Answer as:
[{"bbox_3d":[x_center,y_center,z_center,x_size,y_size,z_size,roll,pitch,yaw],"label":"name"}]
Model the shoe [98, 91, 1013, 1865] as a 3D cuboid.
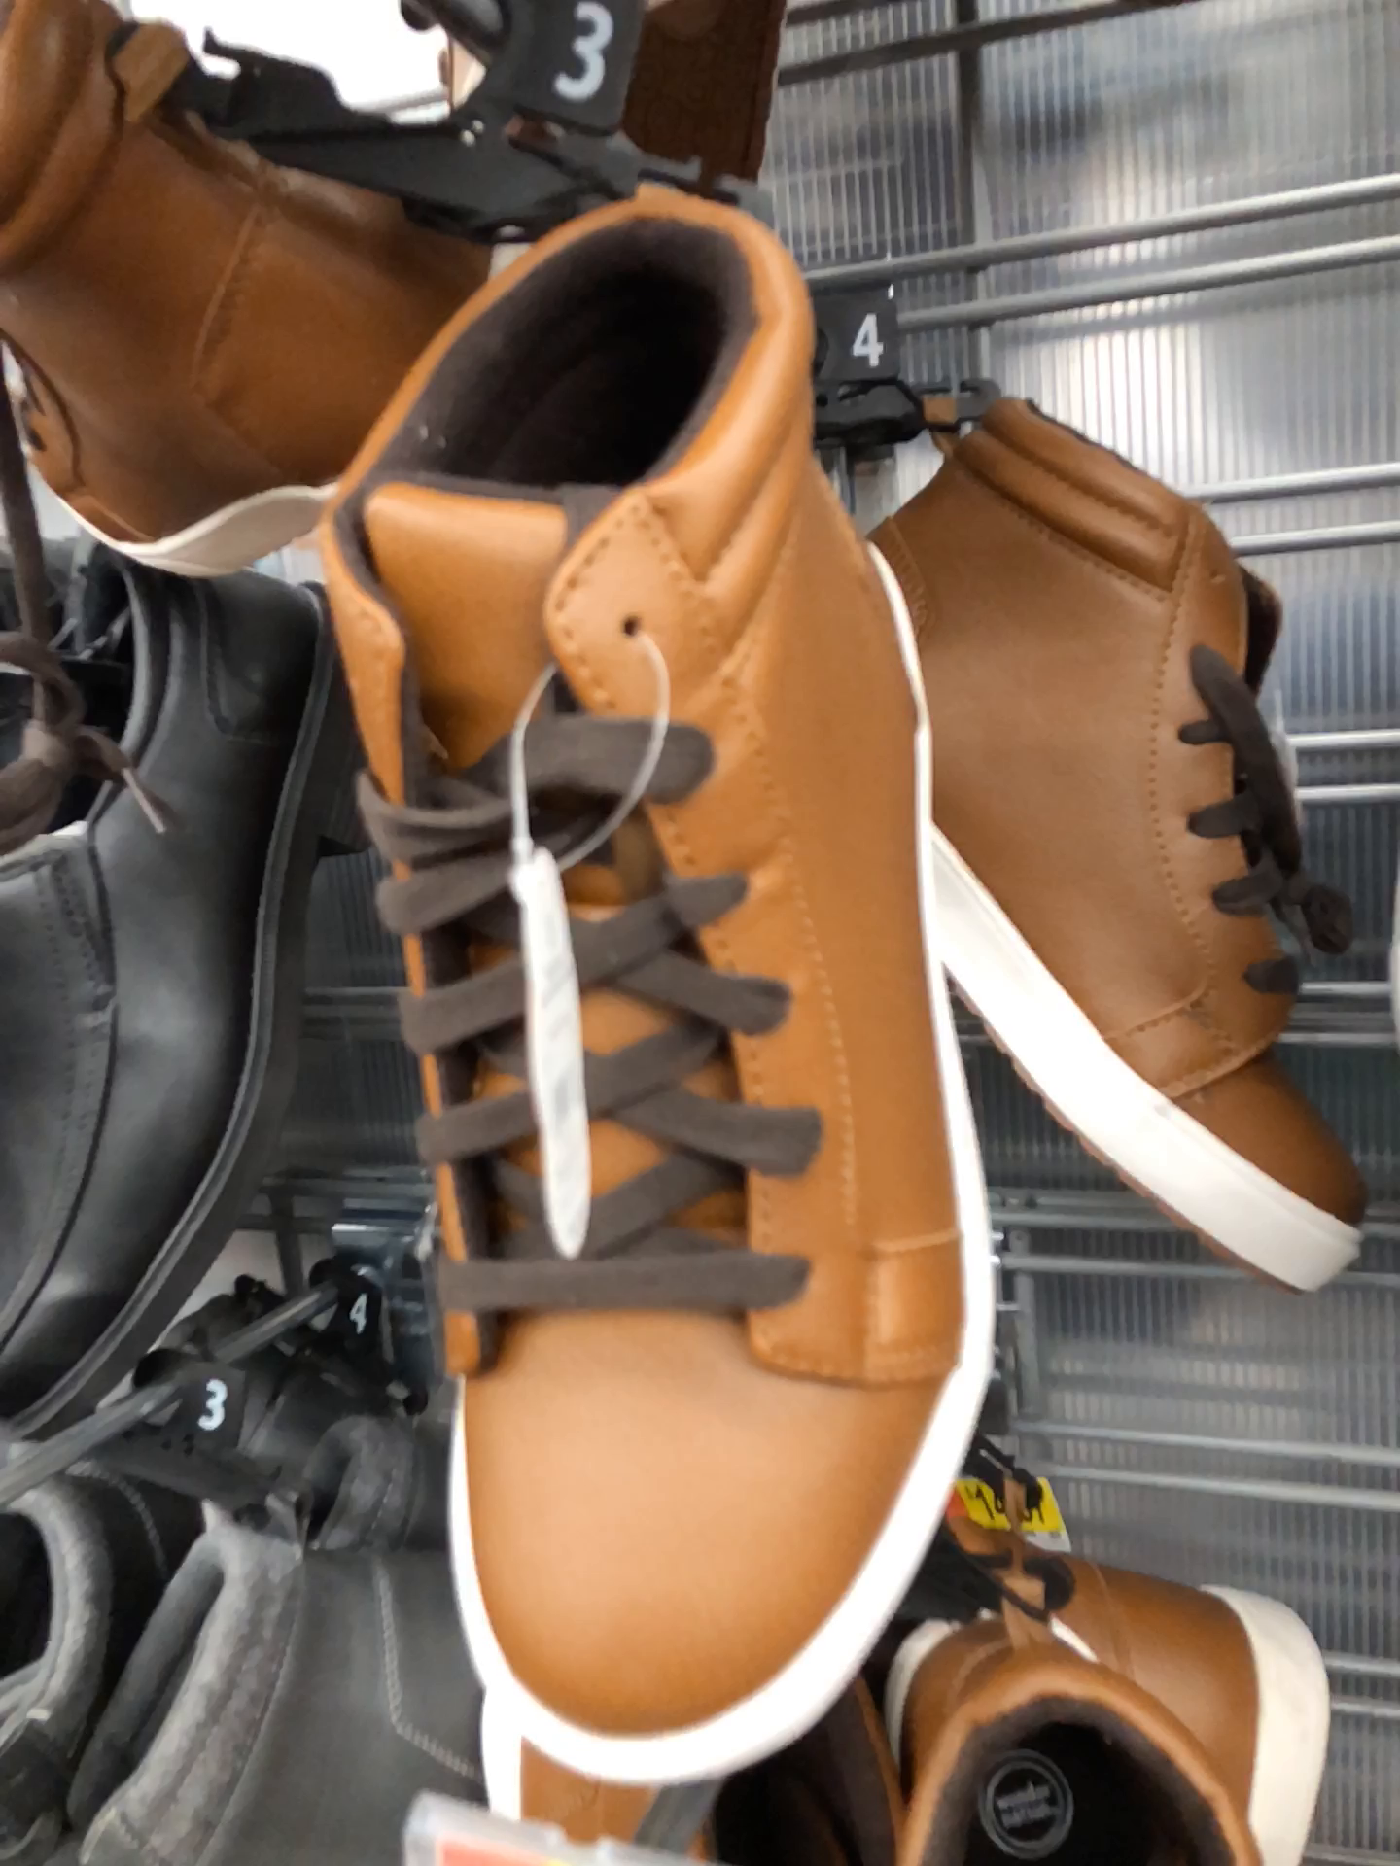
[{"bbox_3d":[-0.008,0.018,0.238,0.096,0.227,0.110,-2,-10,15],"label":"shoe"}]
